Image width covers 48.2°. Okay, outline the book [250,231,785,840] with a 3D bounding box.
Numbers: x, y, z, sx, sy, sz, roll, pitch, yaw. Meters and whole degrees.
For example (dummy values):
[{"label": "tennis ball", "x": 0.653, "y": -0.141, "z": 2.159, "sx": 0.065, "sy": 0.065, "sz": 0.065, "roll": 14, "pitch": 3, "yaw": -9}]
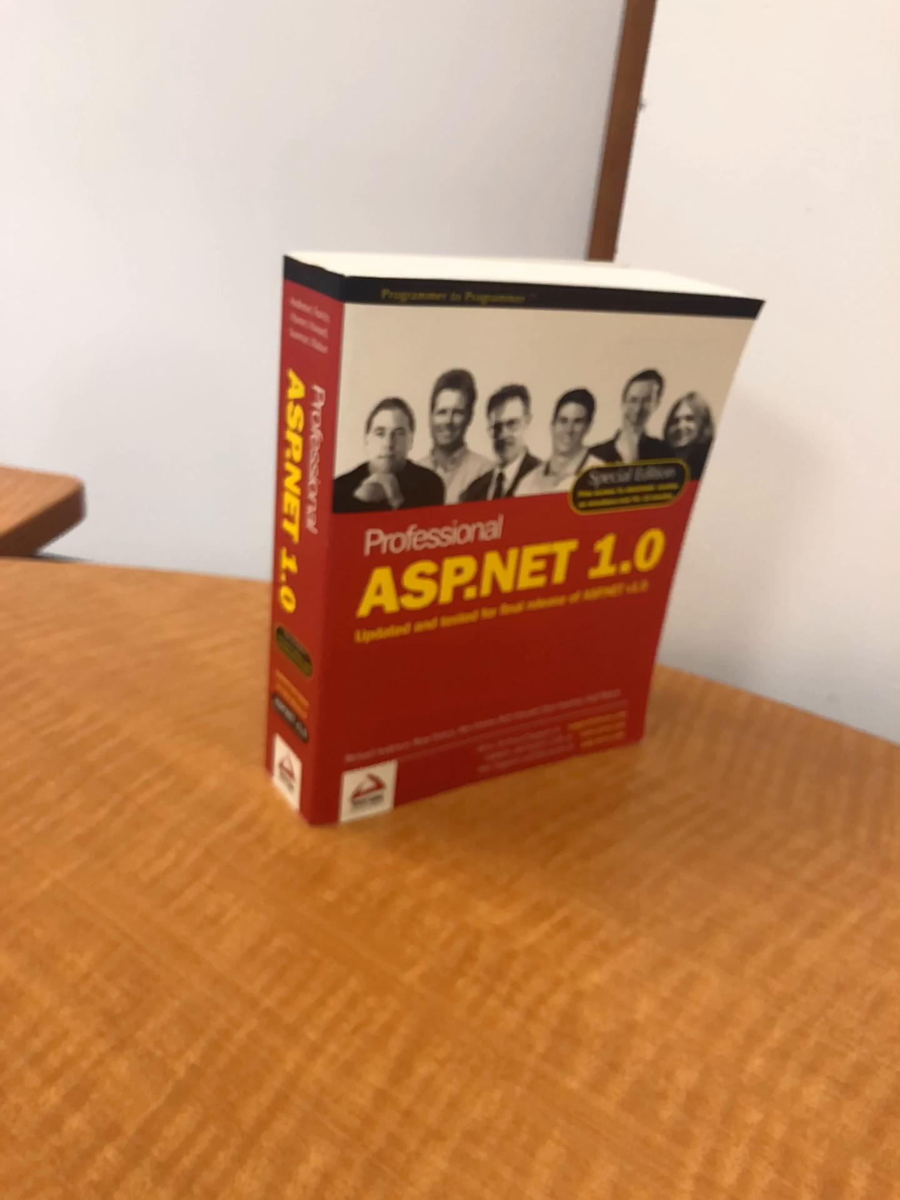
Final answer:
[{"label": "book", "x": 0.026, "y": -0.030, "z": 0.436, "sx": 0.210, "sy": 0.229, "sz": 0.050, "roll": -8, "pitch": 28, "yaw": -31}]
